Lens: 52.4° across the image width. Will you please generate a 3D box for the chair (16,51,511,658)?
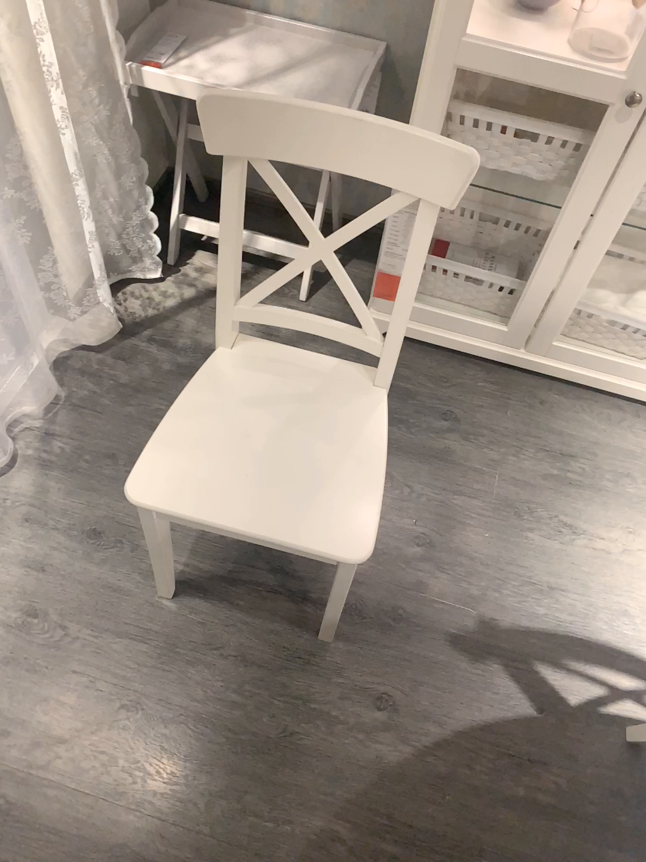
[{"bbox_3d":[-0.059,-0.038,1.110,0.440,0.858,0.491,15,56,4],"label":"chair"}]
